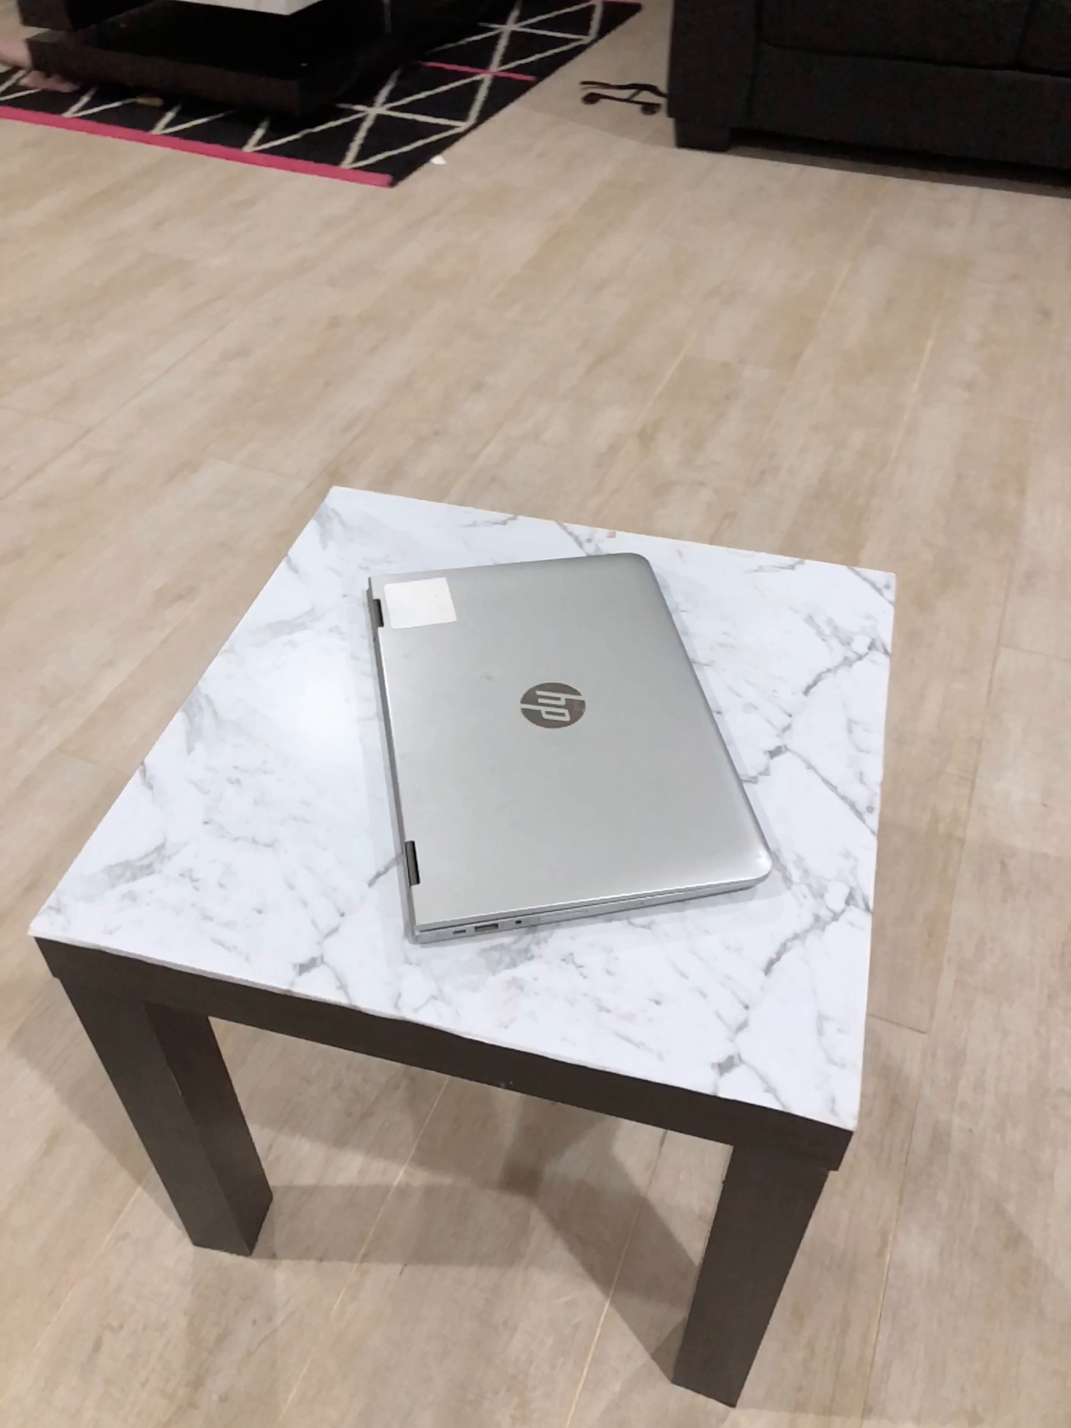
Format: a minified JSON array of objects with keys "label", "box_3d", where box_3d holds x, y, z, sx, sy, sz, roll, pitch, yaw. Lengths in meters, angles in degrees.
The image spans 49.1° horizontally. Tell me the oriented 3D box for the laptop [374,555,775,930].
[{"label":"laptop","box_3d":[0.009,-0.001,0.732,0.197,0.001,0.294,-7,45,-8]}]
